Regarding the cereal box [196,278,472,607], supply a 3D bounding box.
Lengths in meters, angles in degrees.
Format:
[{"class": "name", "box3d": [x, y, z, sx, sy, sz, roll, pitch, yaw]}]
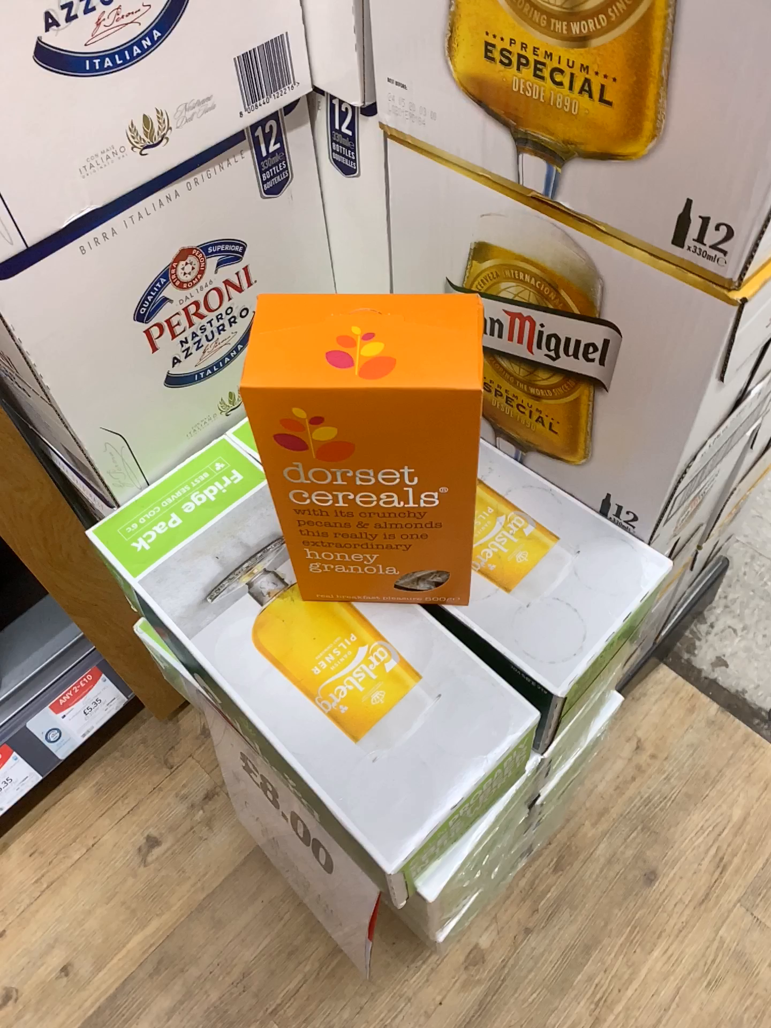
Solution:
[{"class": "cereal box", "box3d": [-0.014, -0.028, 0.441, 0.120, 0.198, 0.071, 1, 55, 6]}]
